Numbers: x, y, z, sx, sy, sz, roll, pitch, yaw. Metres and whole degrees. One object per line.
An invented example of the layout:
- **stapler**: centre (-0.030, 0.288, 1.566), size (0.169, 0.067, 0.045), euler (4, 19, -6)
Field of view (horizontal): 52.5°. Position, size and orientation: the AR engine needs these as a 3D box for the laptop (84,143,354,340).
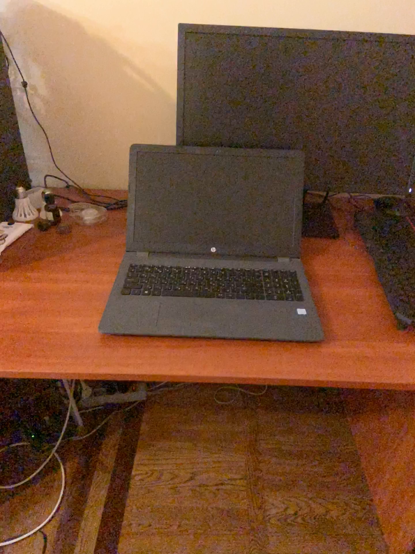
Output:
- **laptop**: centre (0.015, -0.092, 0.794), size (0.372, 0.188, 0.394), euler (2, 34, -1)
